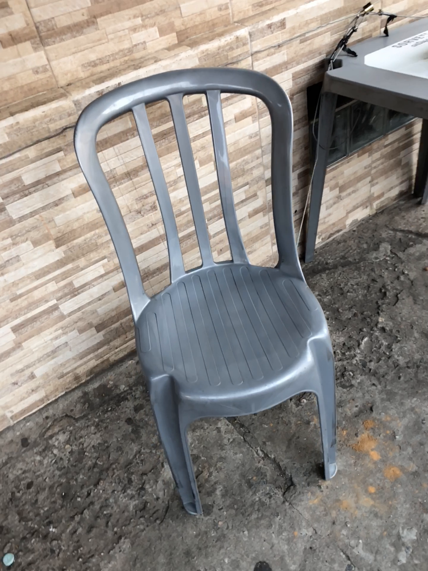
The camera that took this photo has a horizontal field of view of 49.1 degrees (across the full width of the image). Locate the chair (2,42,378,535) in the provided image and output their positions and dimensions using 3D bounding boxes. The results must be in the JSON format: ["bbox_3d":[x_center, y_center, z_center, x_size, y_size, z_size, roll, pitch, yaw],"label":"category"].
[{"bbox_3d":[-0.003,0.042,0.992,0.440,0.834,0.504,-15,40,-3],"label":"chair"}]
